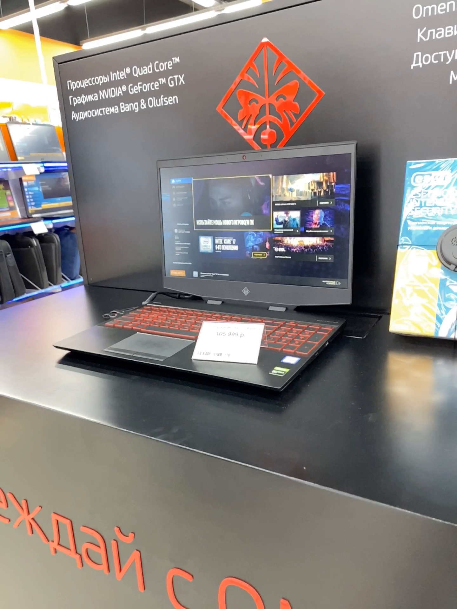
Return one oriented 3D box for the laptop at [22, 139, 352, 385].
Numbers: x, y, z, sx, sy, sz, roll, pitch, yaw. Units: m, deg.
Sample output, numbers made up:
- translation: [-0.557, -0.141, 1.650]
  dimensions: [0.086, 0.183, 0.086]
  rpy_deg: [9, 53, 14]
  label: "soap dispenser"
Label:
- translation: [-0.038, -0.092, 0.681]
  dimensions: [0.359, 0.247, 0.302]
  rpy_deg: [5, 18, 29]
  label: "laptop"
